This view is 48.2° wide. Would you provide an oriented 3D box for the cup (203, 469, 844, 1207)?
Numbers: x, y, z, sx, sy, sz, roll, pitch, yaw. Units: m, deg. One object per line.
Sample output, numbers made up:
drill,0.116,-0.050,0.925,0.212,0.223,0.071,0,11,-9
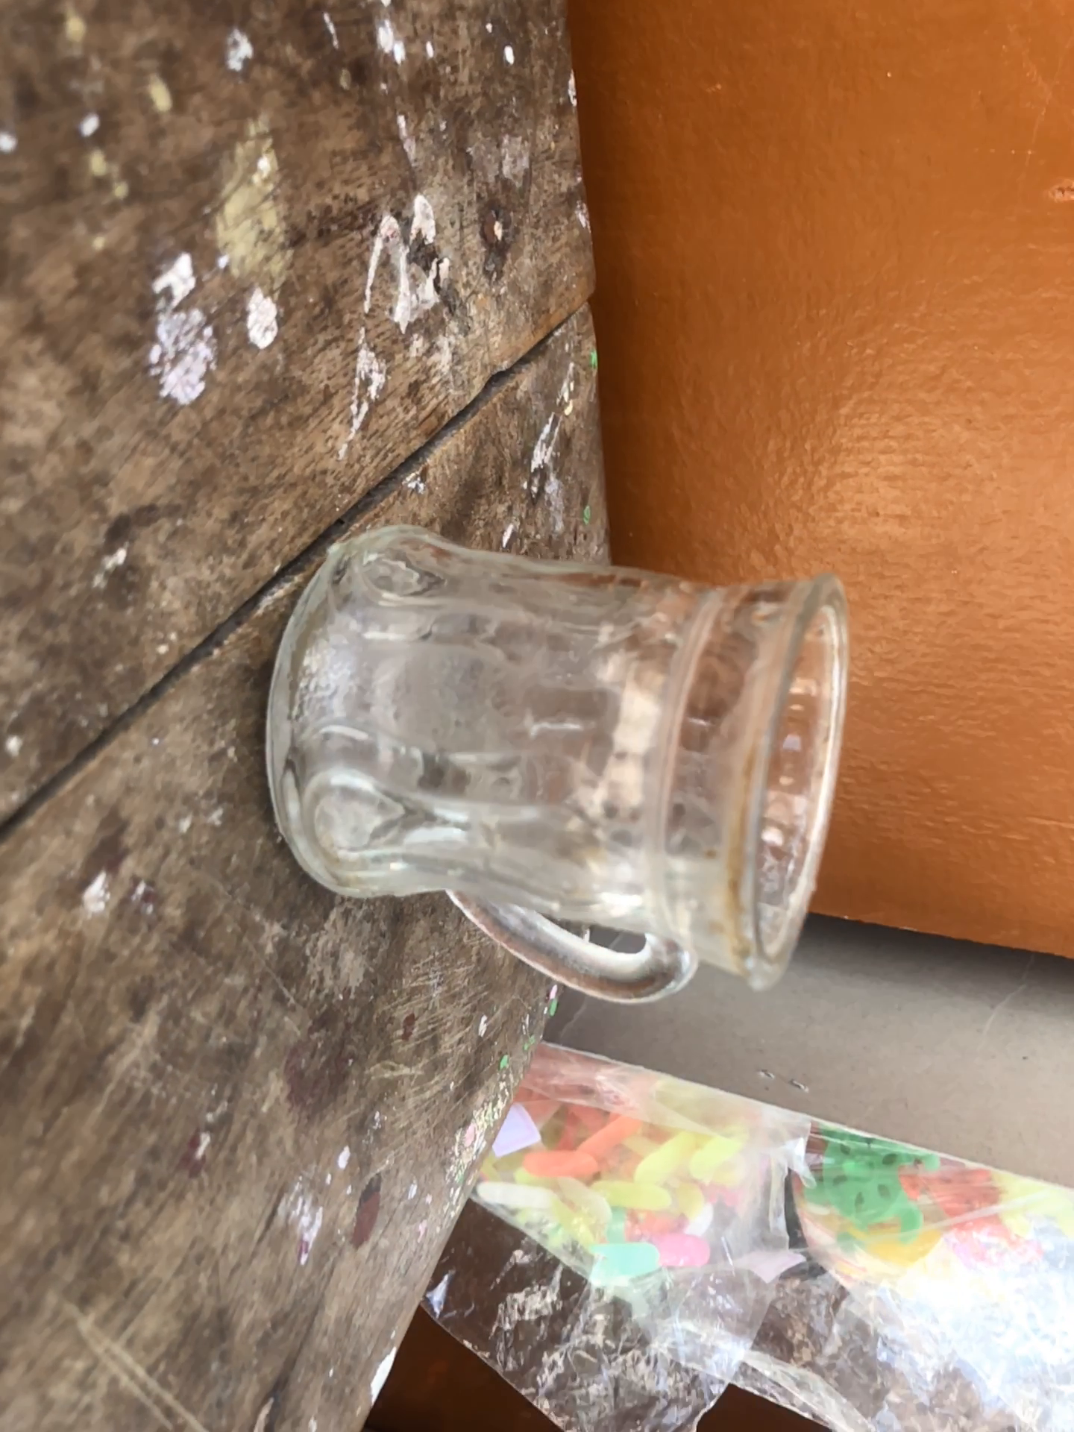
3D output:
cup,0.007,0.016,0.163,0.050,0.060,0.080,-62,150,-43
